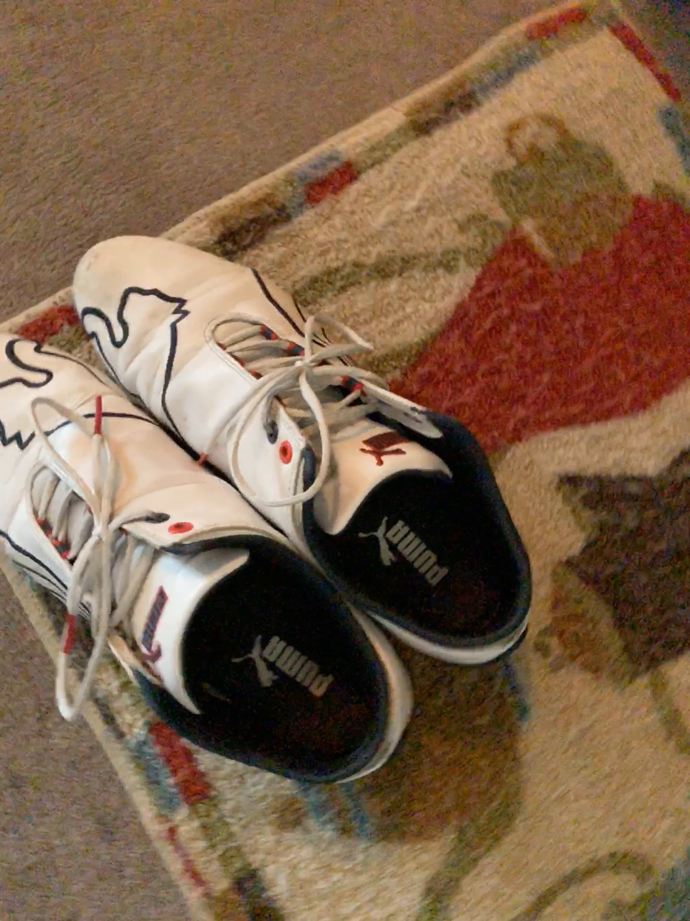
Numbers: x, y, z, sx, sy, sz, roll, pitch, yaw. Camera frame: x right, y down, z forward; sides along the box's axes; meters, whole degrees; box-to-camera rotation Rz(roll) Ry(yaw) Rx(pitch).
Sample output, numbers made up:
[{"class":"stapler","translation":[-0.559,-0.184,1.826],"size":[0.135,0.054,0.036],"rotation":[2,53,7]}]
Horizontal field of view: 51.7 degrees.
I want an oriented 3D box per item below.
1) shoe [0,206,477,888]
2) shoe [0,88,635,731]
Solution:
[{"class":"shoe","translation":[-0.089,0.035,0.337],"size":[0.290,0.100,0.100],"rotation":[44,81,2]},{"class":"shoe","translation":[-0.020,-0.022,0.344],"size":[0.290,0.090,0.100],"rotation":[44,81,2]}]
